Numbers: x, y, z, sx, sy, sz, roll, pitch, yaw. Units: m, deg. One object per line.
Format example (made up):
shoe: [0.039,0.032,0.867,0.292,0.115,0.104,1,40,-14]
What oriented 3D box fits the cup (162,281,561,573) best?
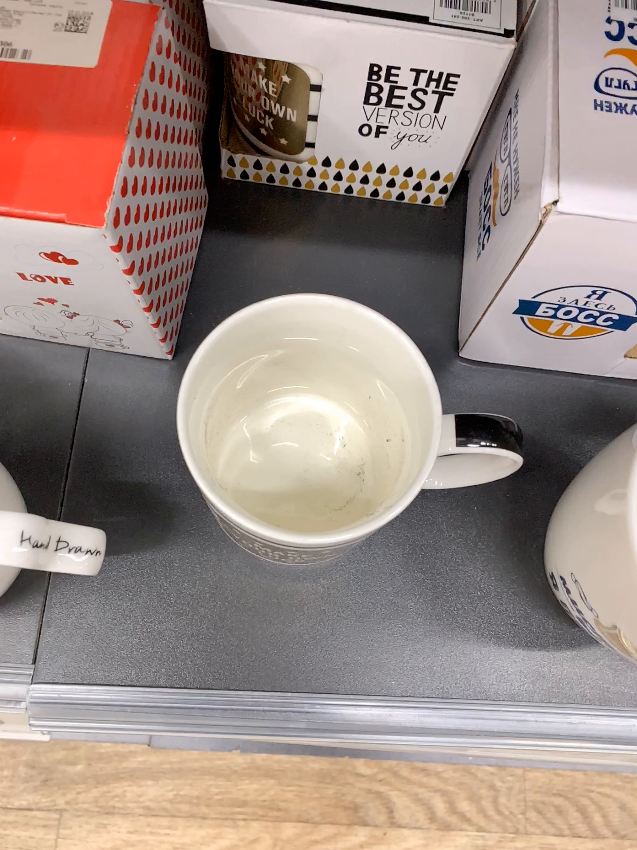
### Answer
cup: [0.011,0.009,0.245,0.114,0.096,0.081,2,74,-3]
